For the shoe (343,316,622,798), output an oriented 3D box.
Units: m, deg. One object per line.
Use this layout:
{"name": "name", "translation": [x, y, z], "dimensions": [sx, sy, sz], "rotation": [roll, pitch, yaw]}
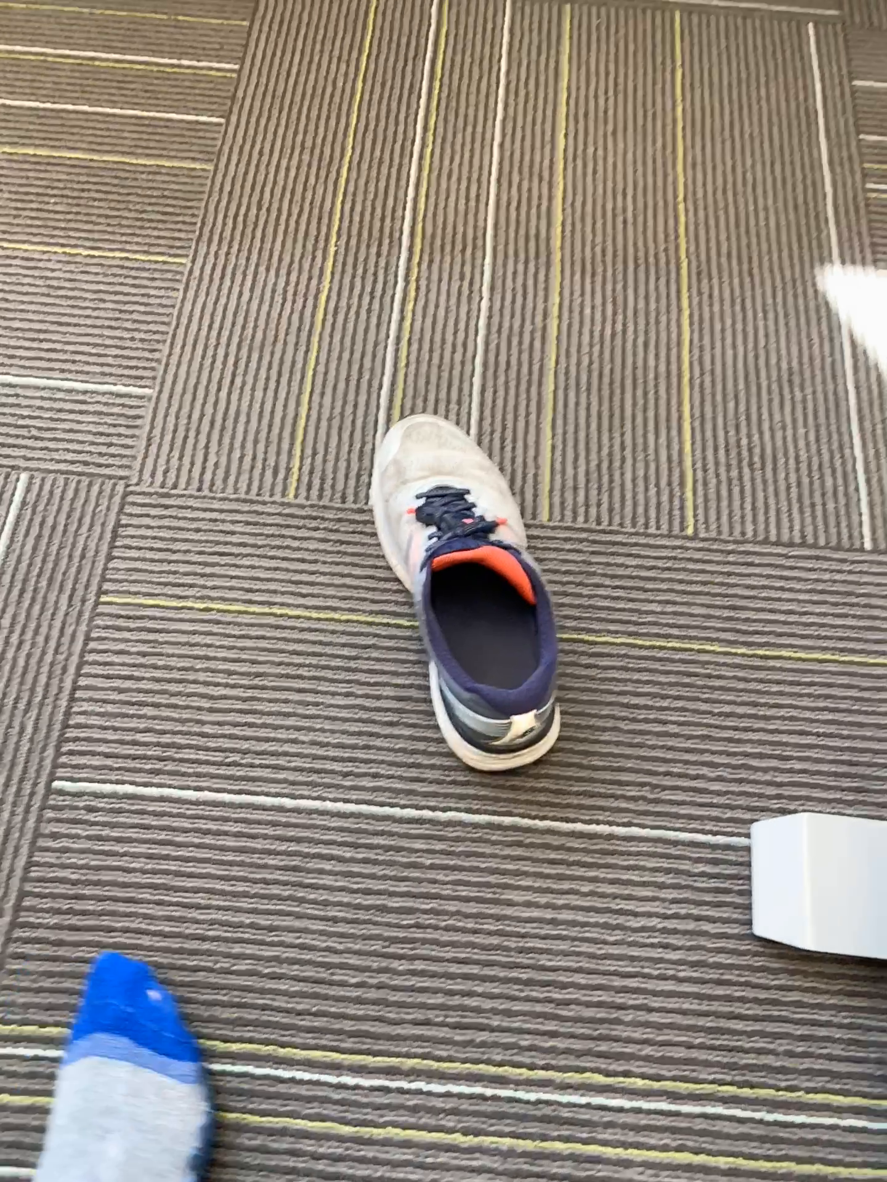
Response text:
{"name": "shoe", "translation": [0.016, -0.027, 0.628], "dimensions": [0.110, 0.110, 0.301], "rotation": [-11, 68, -6]}
